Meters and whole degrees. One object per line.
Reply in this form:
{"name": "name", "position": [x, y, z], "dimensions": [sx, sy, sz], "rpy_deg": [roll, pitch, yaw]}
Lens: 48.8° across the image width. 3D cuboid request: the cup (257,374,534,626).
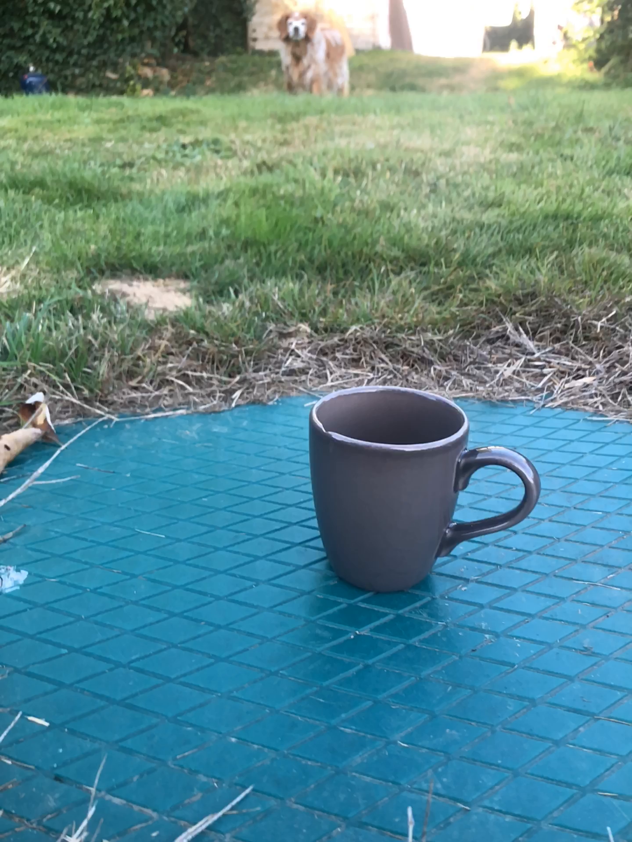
{"name": "cup", "position": [0.046, 0.036, 0.397], "dimensions": [0.126, 0.086, 0.091], "rpy_deg": [11, 26, 26]}
